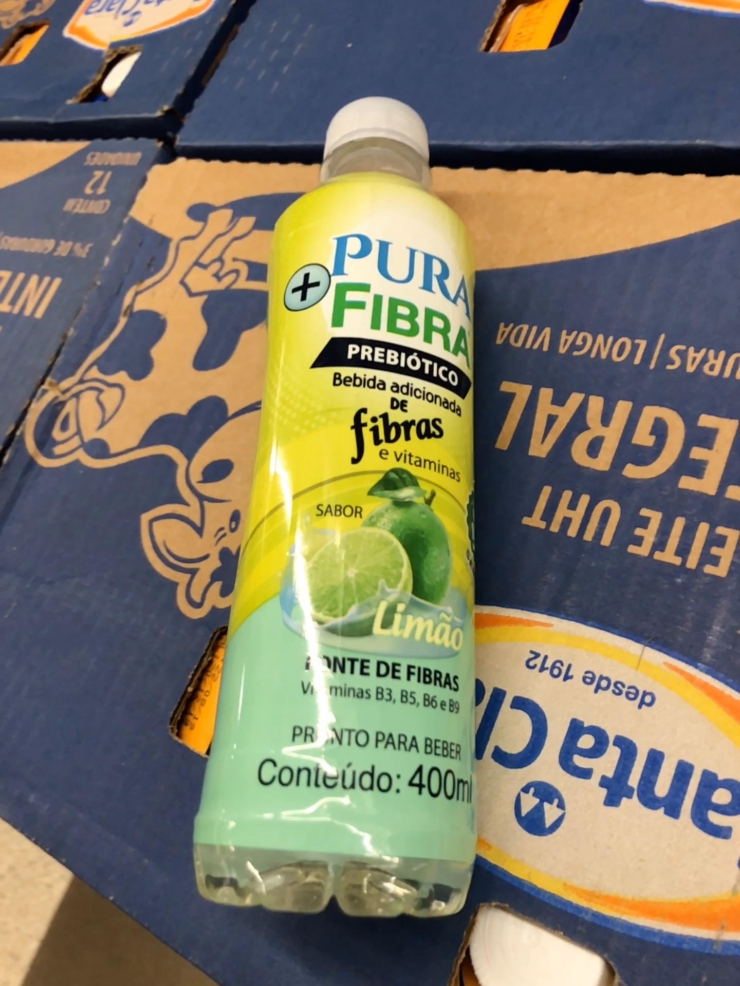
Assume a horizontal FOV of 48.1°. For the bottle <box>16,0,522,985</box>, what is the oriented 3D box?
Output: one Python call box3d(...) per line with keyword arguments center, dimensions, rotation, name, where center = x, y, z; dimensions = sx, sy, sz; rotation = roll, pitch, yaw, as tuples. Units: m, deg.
box3d(center=(-0.004, -0.024, 0.207), dimensions=(0.070, 0.060, 0.251), rotation=(-8, 59, 23), name="bottle")
